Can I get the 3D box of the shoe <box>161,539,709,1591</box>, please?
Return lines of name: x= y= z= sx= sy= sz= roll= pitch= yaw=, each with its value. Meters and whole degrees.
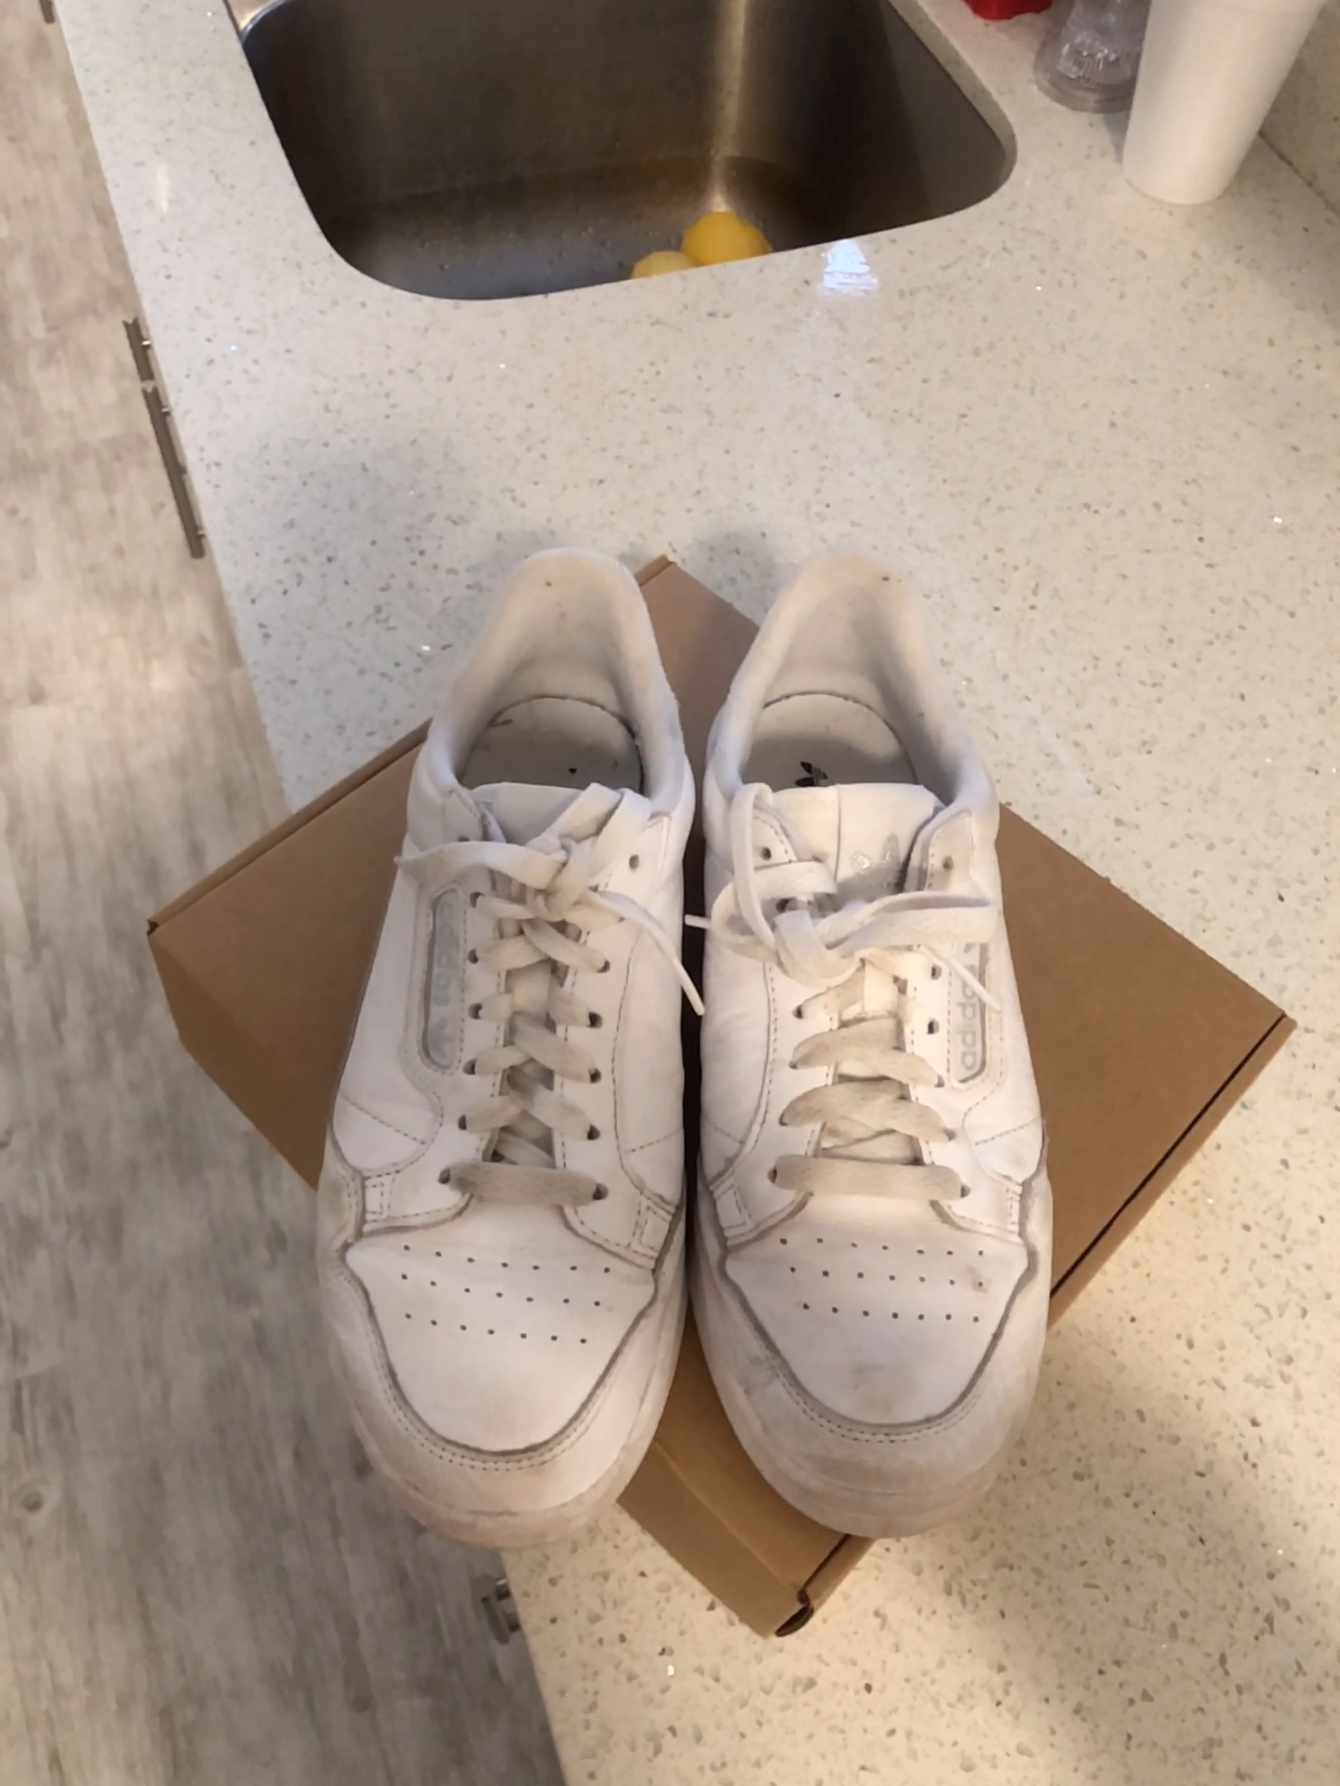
shoe: x=-0.047 y=0.037 z=0.409 sx=0.107 sy=0.100 sz=0.268 roll=2 pitch=57 yaw=-2

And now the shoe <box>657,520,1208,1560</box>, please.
shoe: x=0.055 y=0.031 z=0.412 sx=0.107 sy=0.100 sz=0.268 roll=2 pitch=57 yaw=-2
